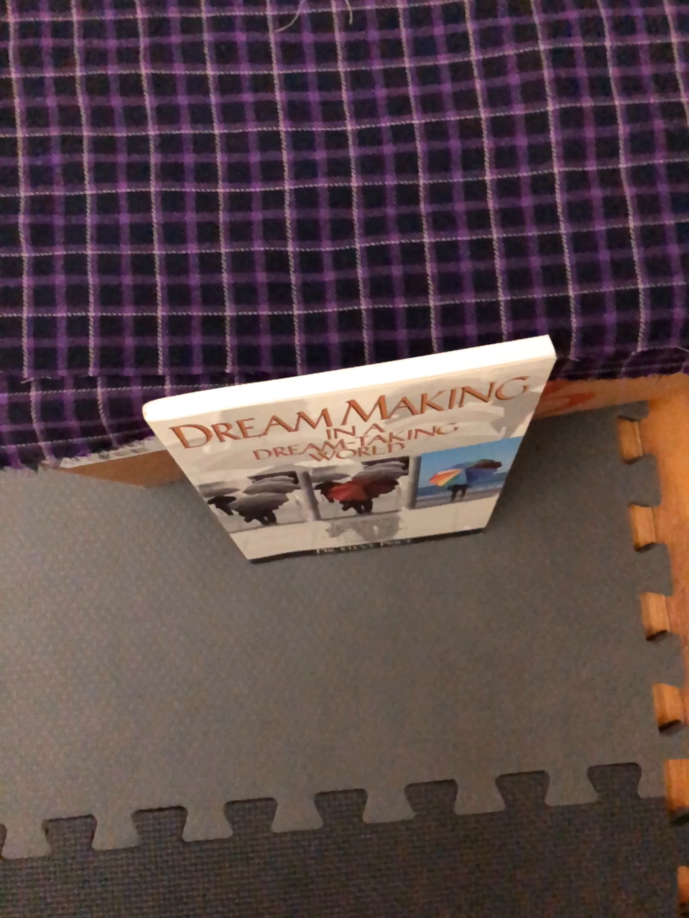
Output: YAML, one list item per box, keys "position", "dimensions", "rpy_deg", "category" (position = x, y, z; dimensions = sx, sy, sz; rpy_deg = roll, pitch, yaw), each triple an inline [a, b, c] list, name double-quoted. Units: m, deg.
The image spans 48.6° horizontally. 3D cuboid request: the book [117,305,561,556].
- position: [0.004, 0.003, 0.362]
  dimensions: [0.150, 0.220, 0.020]
  rpy_deg: [-6, 69, 2]
  category: "book"
